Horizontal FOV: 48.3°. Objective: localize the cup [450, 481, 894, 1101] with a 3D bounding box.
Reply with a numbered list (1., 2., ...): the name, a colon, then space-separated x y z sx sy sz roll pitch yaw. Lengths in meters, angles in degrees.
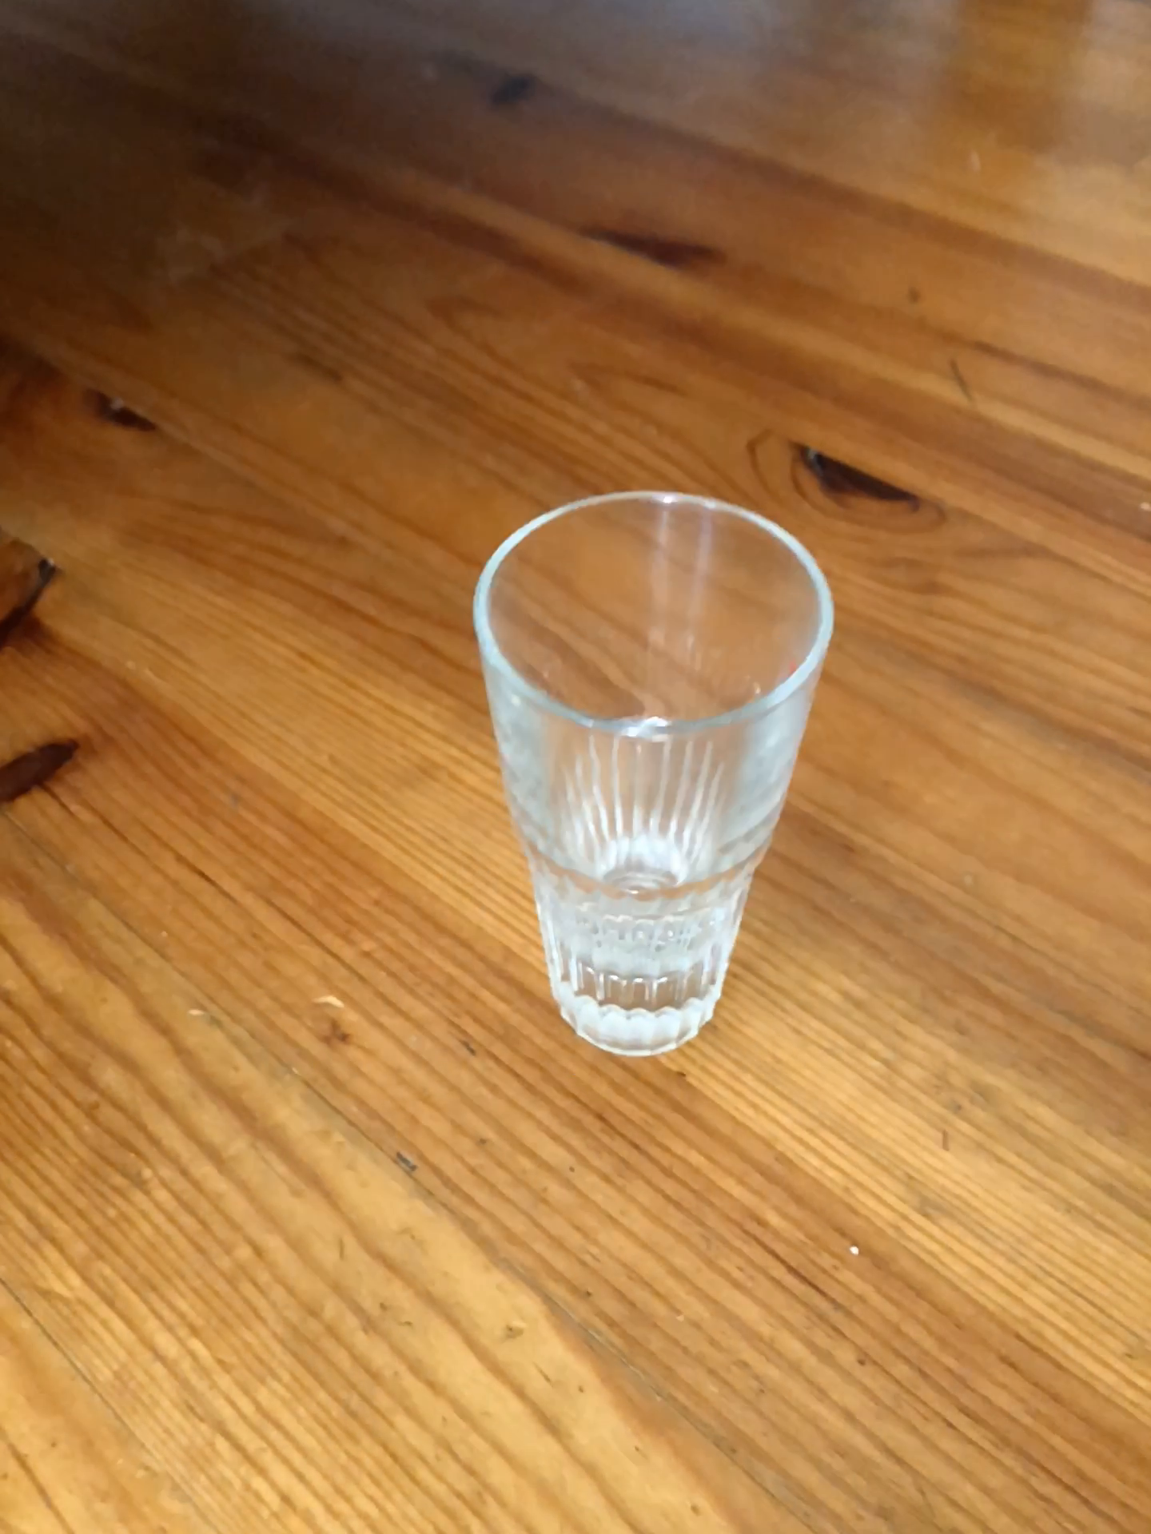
1. cup: 0.017 0.010 0.263 0.068 0.116 0.064 0 48 0
